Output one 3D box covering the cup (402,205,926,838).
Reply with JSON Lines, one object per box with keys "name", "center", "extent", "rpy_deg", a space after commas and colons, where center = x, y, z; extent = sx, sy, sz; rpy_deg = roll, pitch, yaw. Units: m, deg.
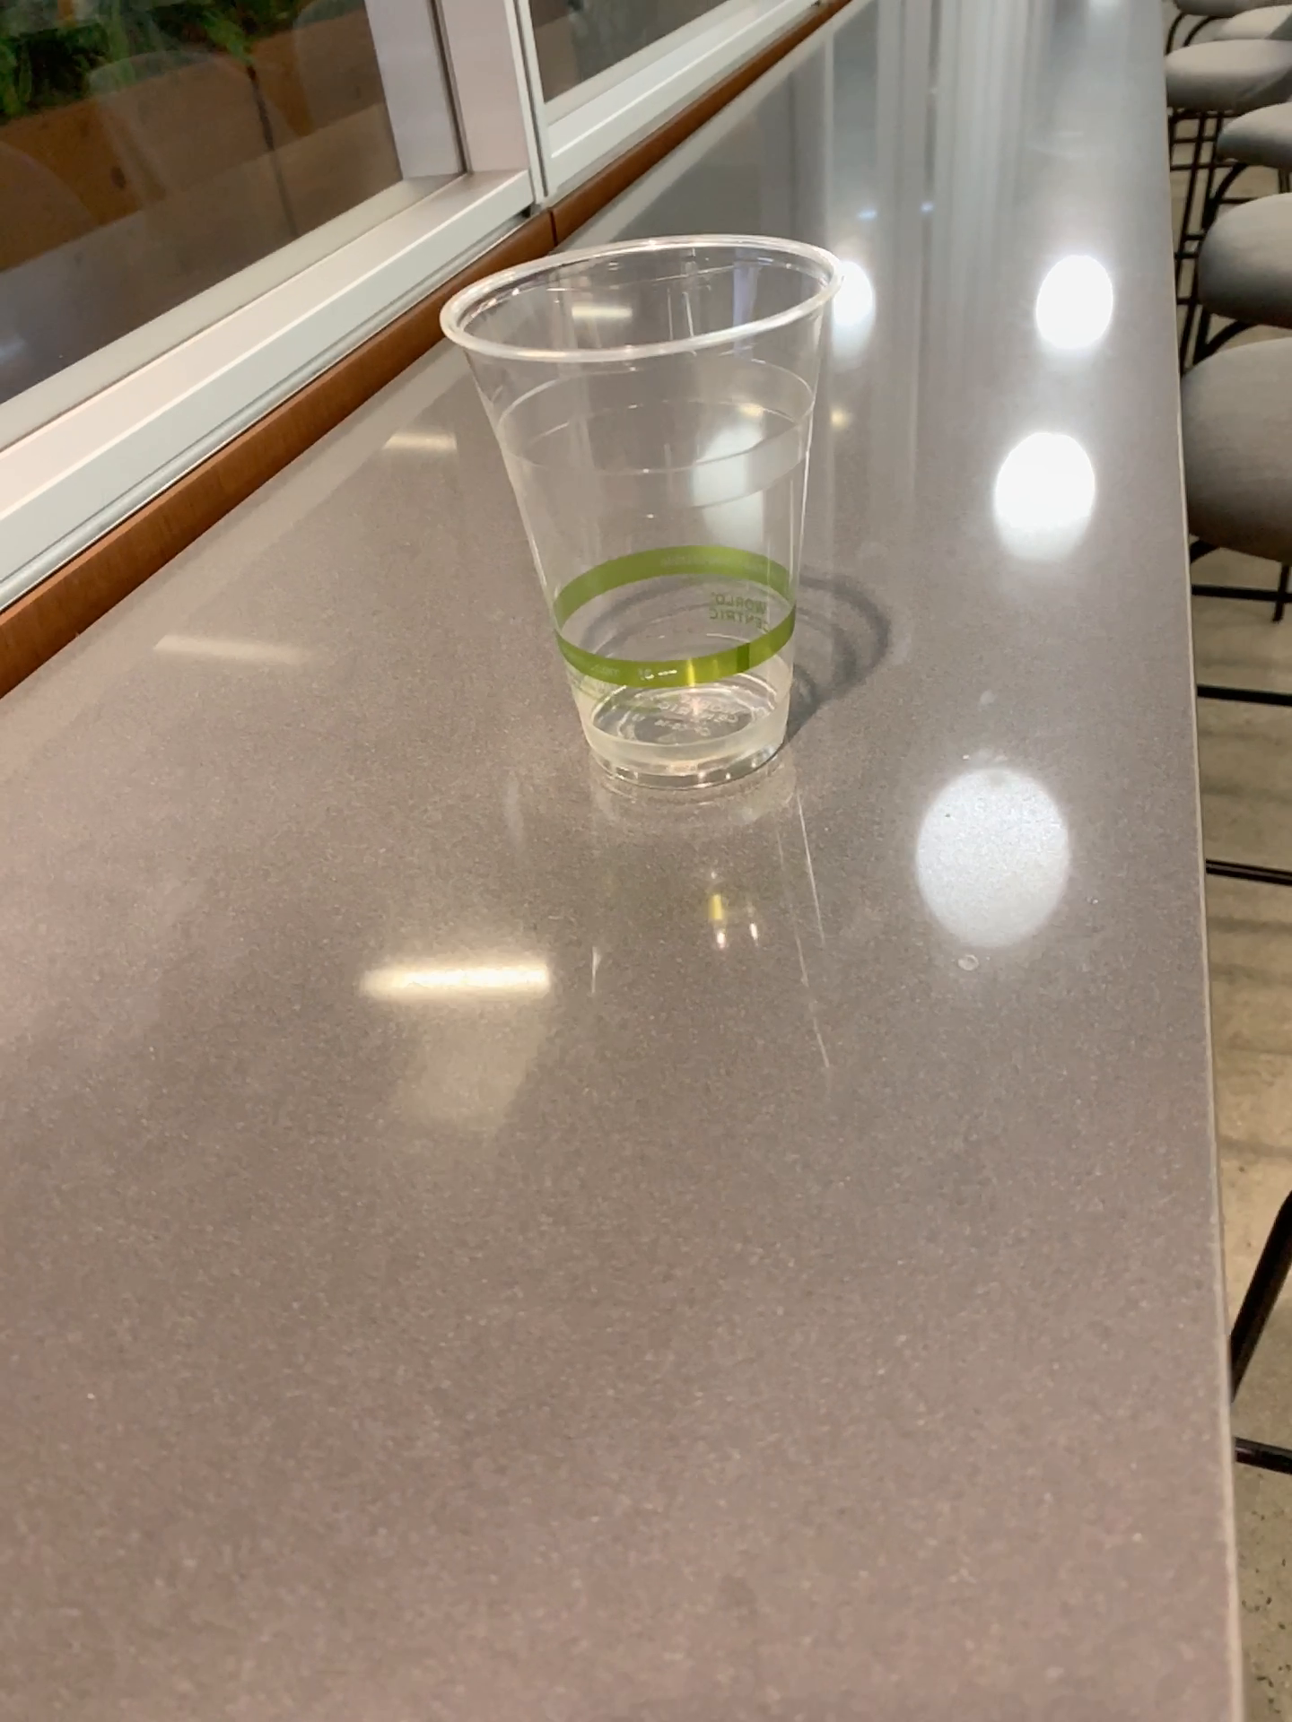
{"name": "cup", "center": [0.005, -0.098, 0.367], "extent": [0.100, 0.119, 0.111], "rpy_deg": [-17, 38, -11]}
